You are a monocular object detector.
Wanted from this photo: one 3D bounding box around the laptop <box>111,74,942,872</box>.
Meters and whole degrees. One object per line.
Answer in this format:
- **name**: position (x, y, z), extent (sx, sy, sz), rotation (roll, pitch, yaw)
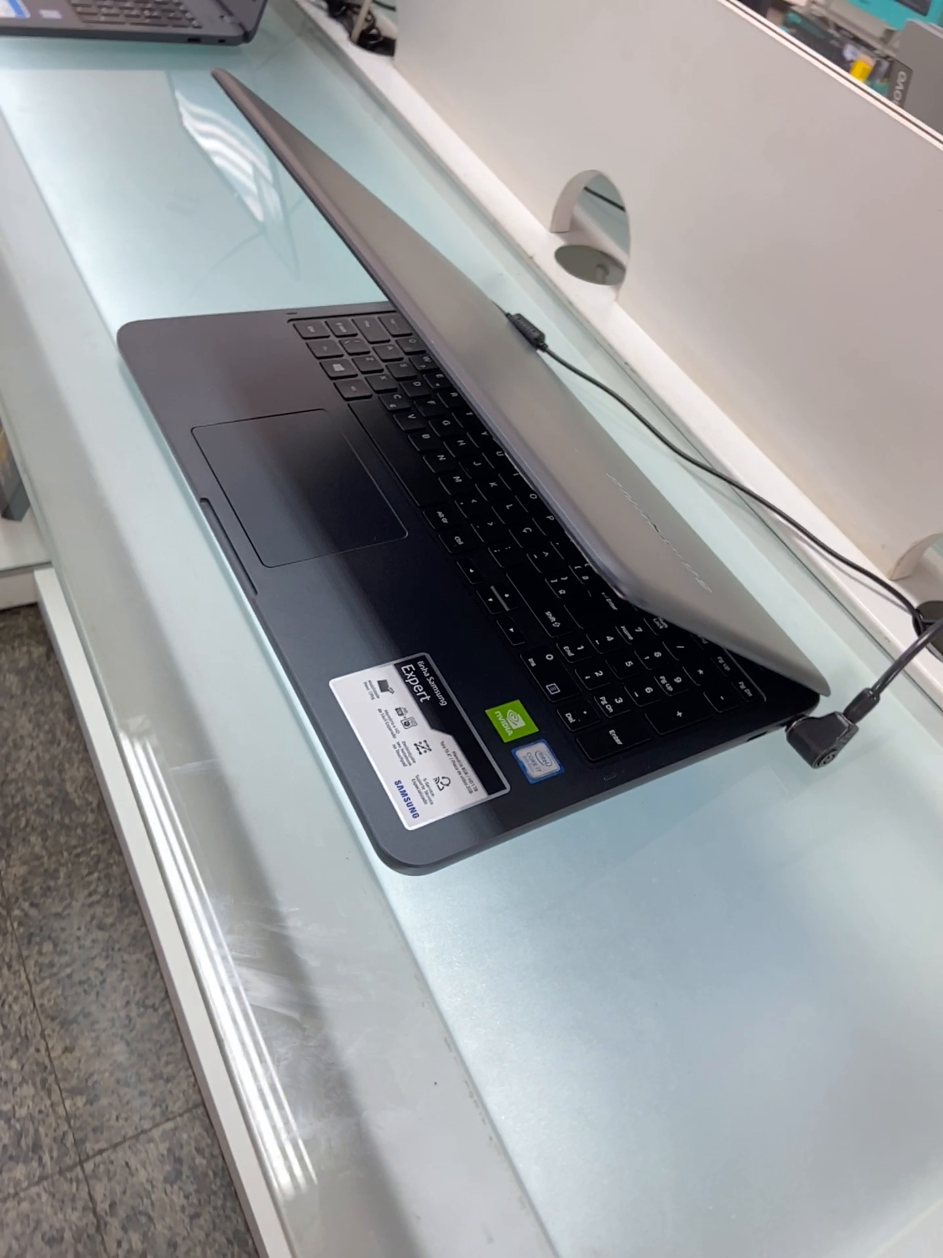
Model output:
- **laptop**: position (0.002, -0.116, 0.482), extent (0.239, 0.139, 0.378), rotation (-16, 56, -28)
